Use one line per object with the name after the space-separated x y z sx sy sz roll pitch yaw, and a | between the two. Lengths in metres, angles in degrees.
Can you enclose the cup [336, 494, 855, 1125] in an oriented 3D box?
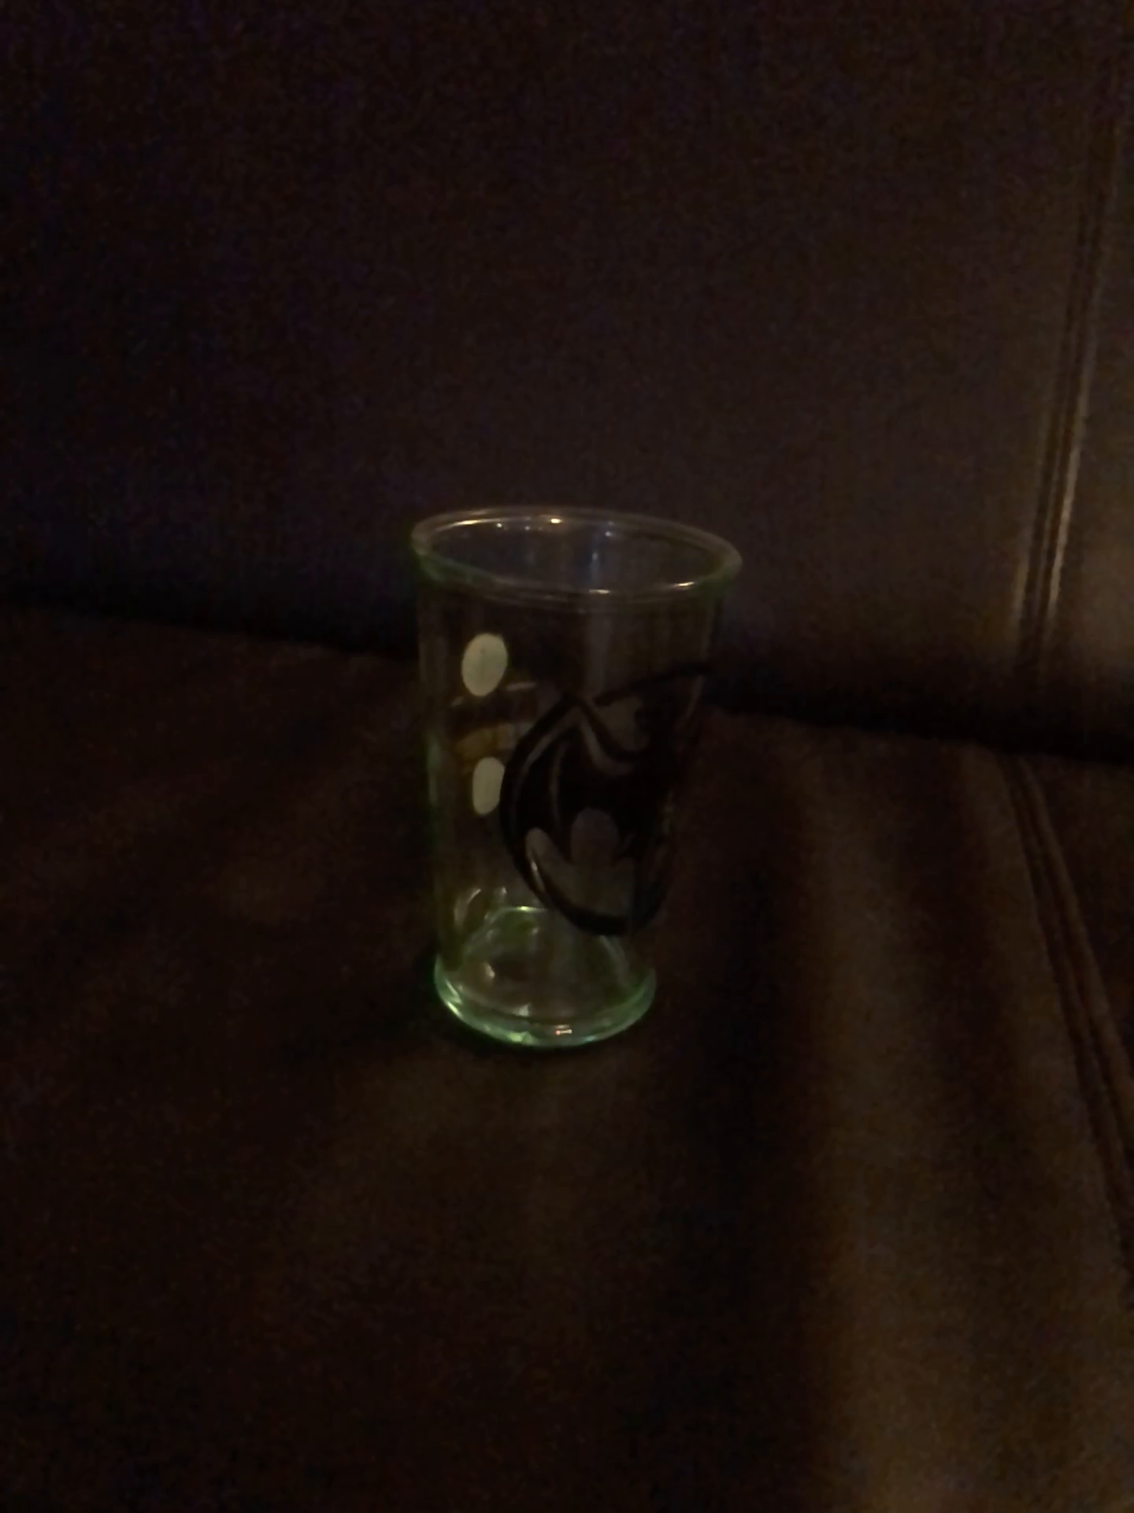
0.001 0.005 0.314 0.085 0.117 0.087 4 23 -2 | cup
